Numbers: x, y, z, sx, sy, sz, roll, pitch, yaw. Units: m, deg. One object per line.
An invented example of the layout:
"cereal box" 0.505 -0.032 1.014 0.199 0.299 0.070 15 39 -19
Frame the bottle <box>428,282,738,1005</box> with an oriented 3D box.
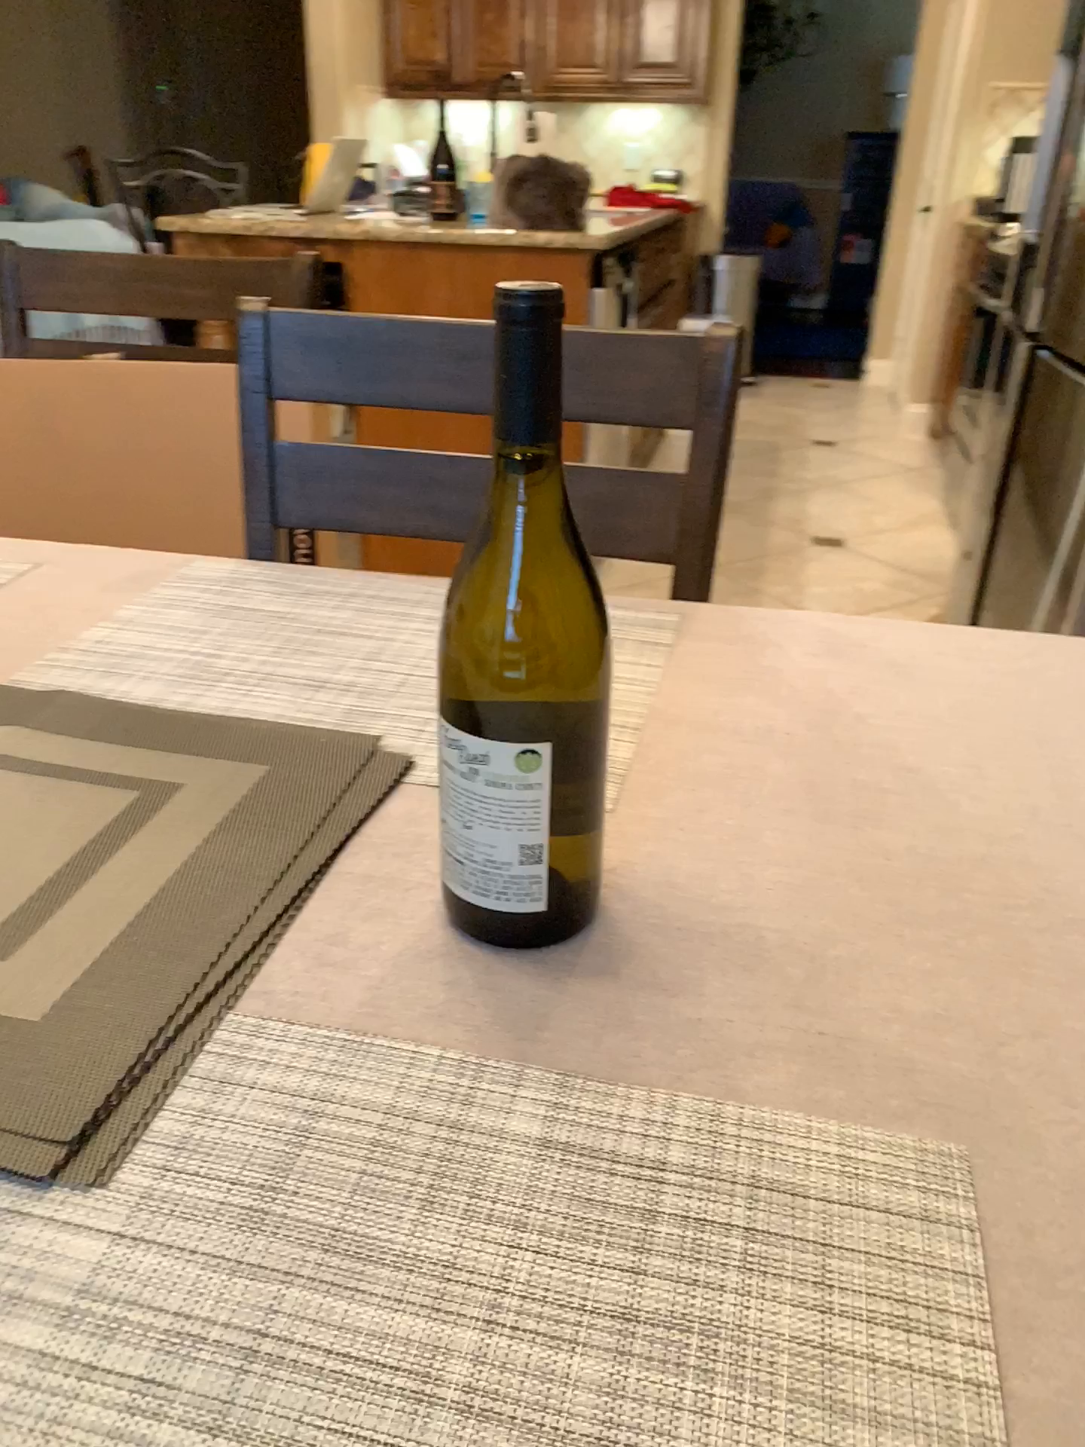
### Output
"bottle" 0.013 -0.030 0.482 0.090 0.289 0.080 15 29 25
